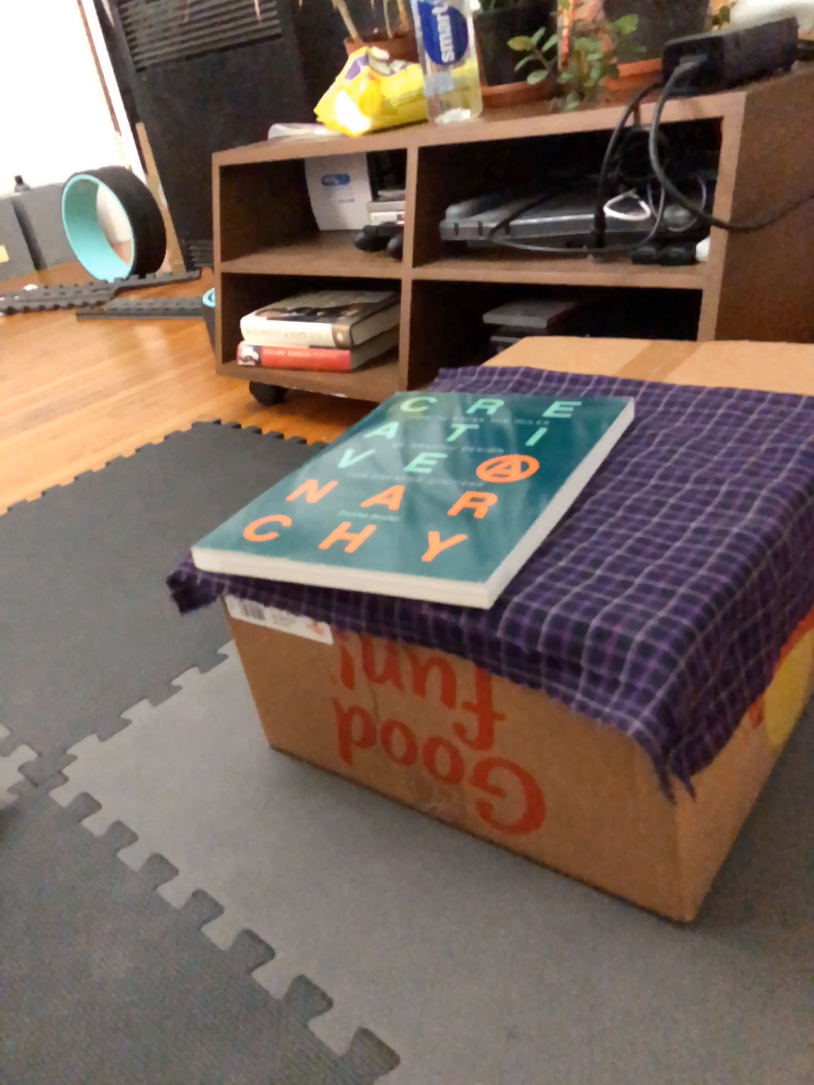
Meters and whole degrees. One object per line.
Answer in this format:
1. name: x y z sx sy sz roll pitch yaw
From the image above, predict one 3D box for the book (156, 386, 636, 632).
1. book: 0.009 -0.046 0.620 0.220 0.020 0.301 6 32 29
